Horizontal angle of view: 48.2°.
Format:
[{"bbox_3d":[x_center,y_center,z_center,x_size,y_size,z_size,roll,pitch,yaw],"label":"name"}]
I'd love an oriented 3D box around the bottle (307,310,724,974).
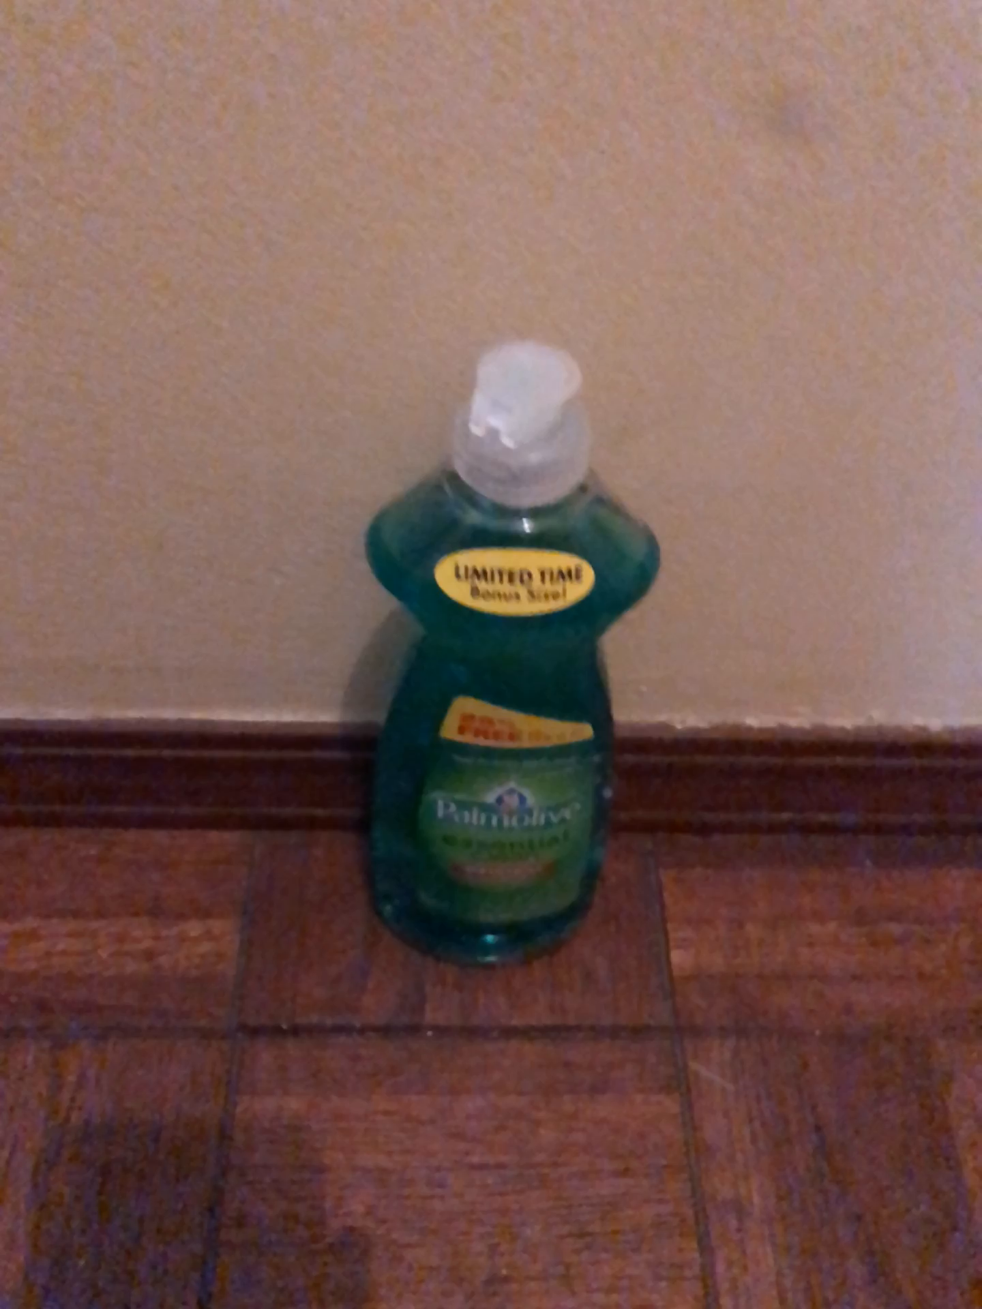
[{"bbox_3d":[-0.001,0.018,0.313,0.080,0.230,0.050,0,50,-3],"label":"bottle"}]
